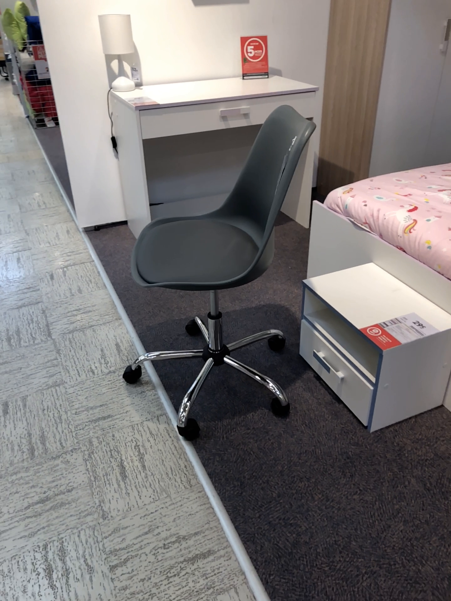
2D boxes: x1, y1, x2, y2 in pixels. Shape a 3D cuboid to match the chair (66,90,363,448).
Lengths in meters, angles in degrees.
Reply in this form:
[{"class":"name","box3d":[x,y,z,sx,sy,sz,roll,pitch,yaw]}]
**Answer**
[{"class":"chair","box3d":[-0.055,-0.126,1.494,0.631,0.835,0.603,-7,32,-9]}]
